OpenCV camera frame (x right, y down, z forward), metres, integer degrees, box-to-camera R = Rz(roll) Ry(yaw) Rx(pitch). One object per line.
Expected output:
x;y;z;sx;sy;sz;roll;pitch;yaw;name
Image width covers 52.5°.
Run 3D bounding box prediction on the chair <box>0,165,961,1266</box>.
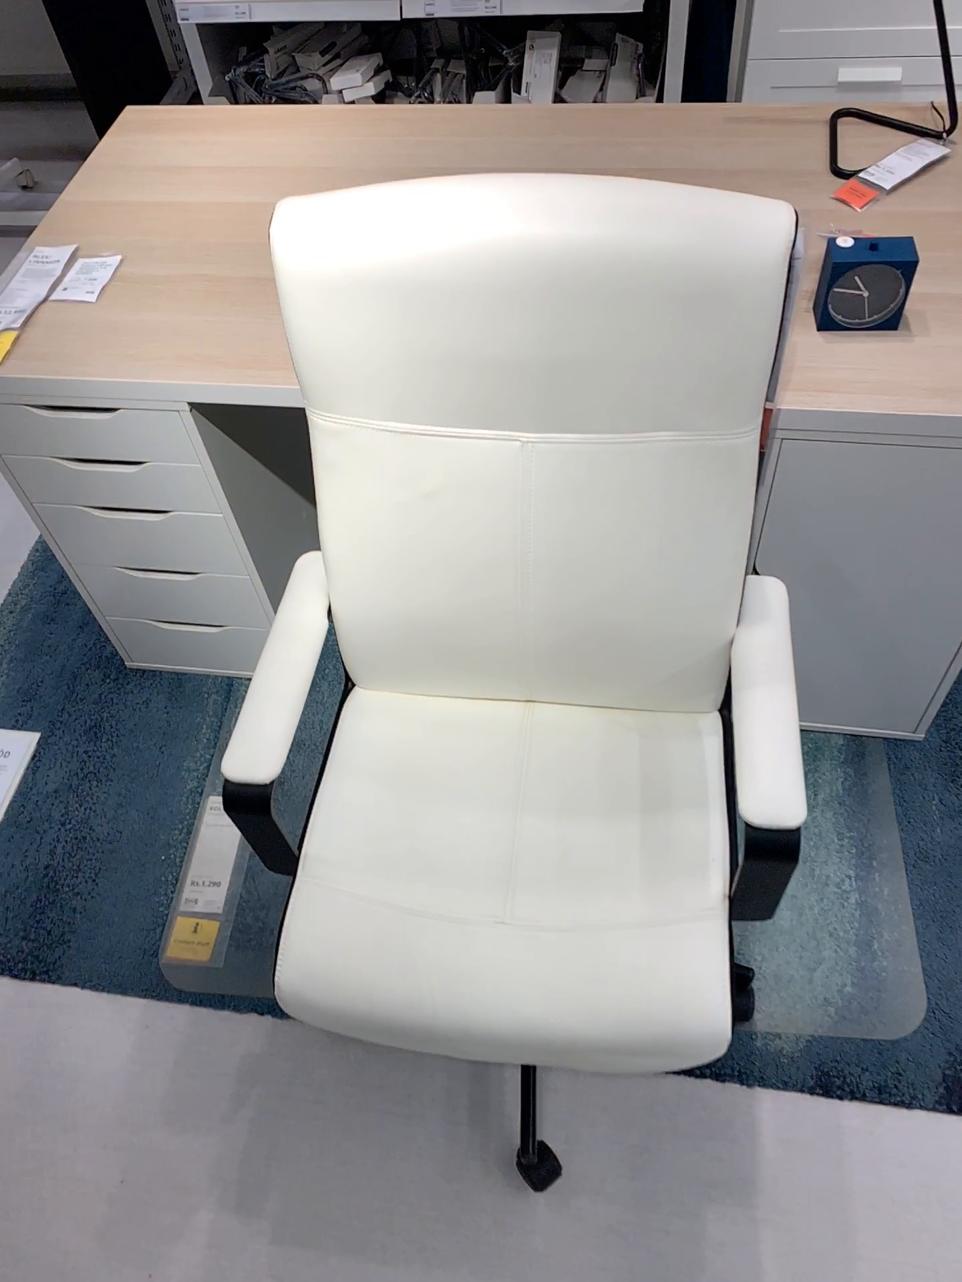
0.007;0.153;1.028;0.690;0.957;0.702;4;55;9;chair
